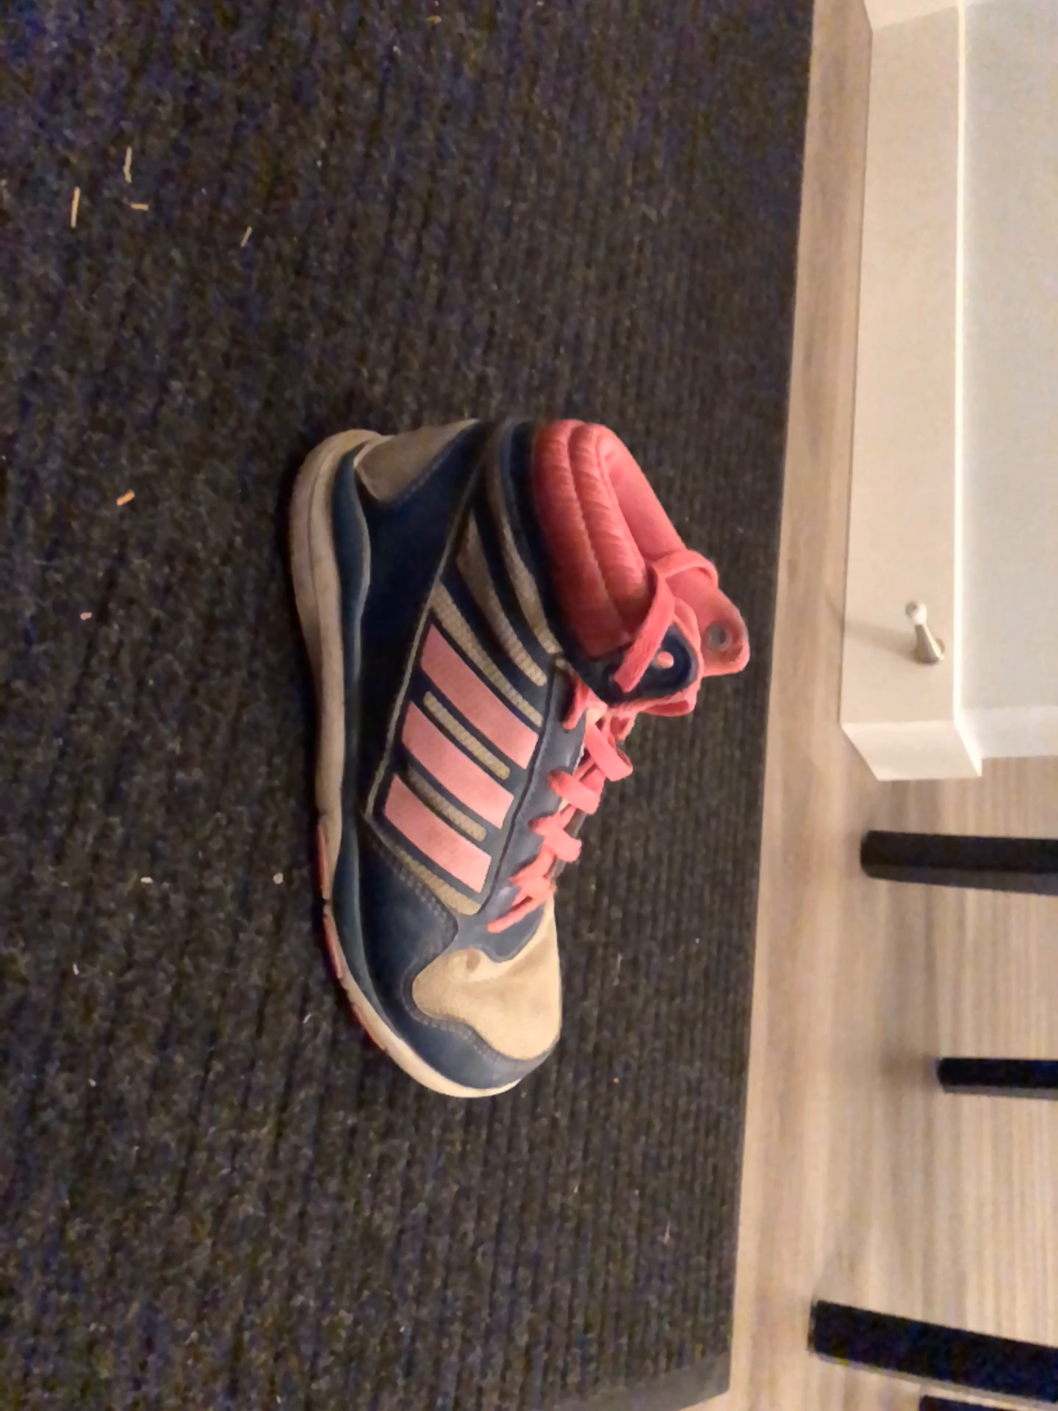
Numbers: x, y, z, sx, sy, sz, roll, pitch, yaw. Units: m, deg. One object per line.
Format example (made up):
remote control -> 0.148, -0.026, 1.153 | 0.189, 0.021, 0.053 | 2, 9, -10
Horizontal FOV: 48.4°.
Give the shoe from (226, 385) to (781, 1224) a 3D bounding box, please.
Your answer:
shoe -> 0.001, 0.022, 0.333 | 0.090, 0.099, 0.200 | -24, 109, -61
